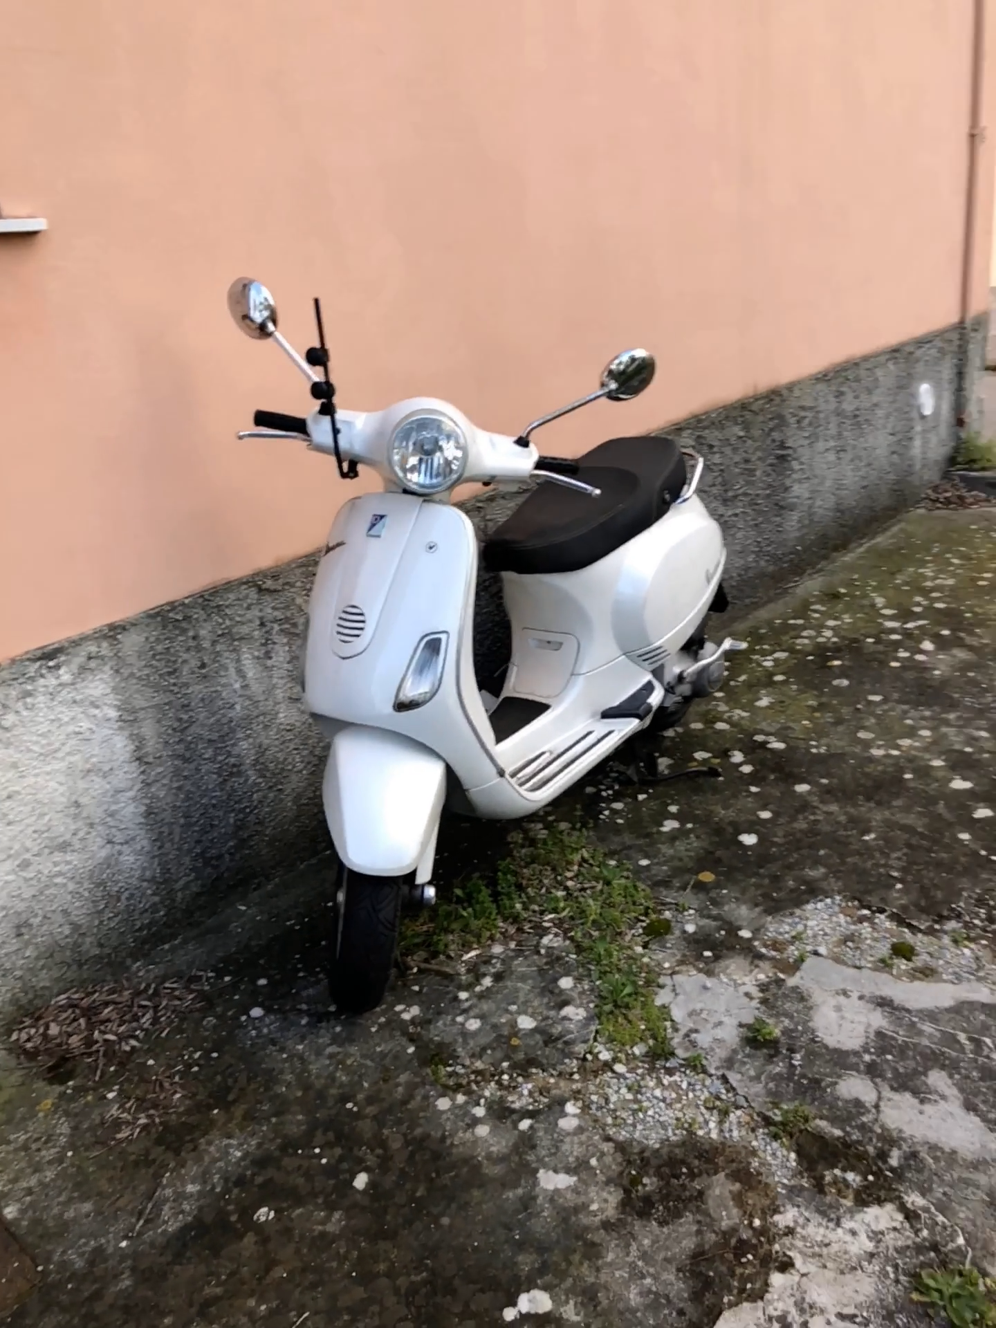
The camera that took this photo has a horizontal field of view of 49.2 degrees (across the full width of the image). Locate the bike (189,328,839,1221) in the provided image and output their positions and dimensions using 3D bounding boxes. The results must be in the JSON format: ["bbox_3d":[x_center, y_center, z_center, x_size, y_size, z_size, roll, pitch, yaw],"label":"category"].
[{"bbox_3d":[0.218,-0.013,2.378,0.645,1.085,1.663,5,24,32],"label":"bike"}]
